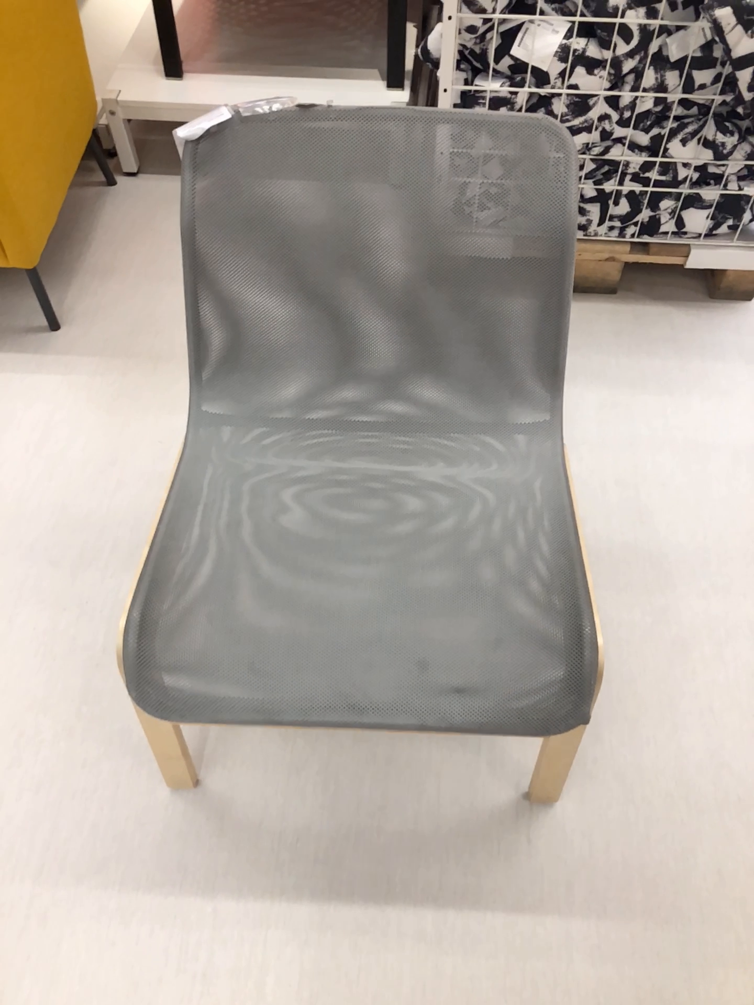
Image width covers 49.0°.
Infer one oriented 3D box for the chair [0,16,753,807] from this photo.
[{"bbox_3d":[-0.013,-0.055,1.105,0.630,0.825,0.643,2,55,2],"label":"chair"}]
